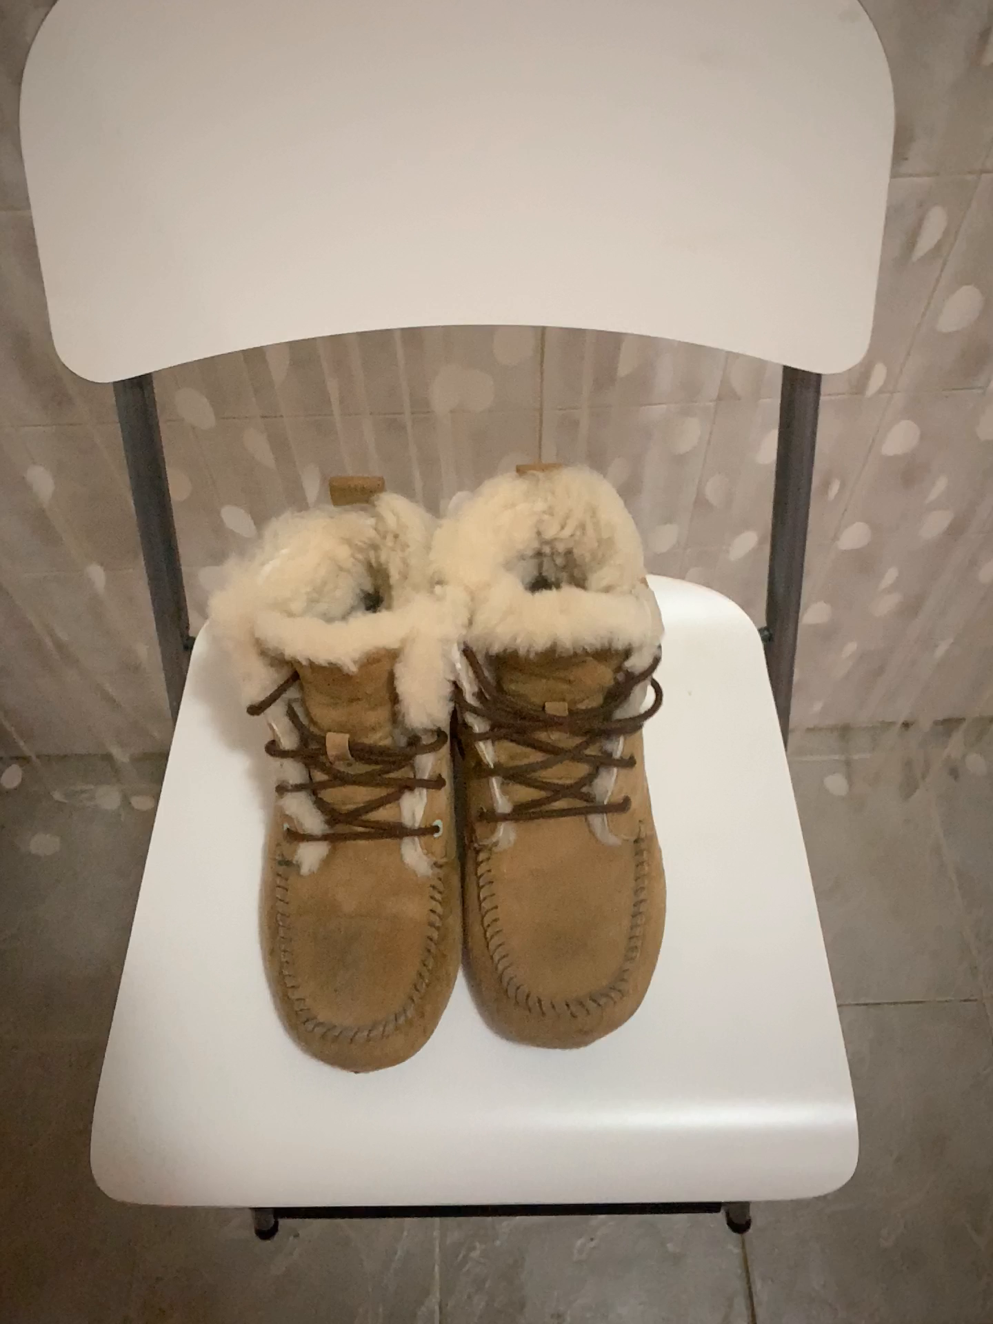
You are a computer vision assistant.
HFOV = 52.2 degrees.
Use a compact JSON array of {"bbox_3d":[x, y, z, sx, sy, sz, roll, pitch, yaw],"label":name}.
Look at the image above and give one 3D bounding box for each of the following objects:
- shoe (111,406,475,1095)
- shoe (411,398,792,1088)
[{"bbox_3d":[-0.072,0.038,0.445,0.106,0.155,0.252,-3,58,-1],"label":"shoe"},{"bbox_3d":[0.028,0.035,0.446,0.113,0.157,0.252,-3,58,-1],"label":"shoe"}]
